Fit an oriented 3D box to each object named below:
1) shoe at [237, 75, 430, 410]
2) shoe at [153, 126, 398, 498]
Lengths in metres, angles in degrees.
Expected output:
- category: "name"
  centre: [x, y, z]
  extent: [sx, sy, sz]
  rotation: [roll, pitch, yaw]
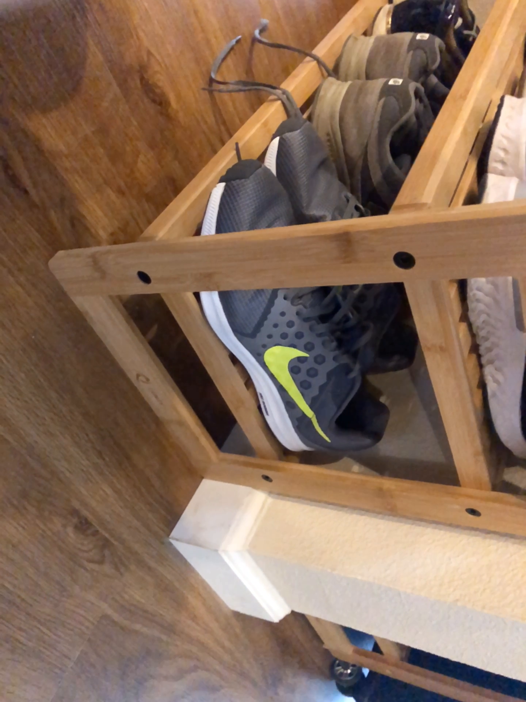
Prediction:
- category: "shoe"
  centre: [0.087, -0.089, 0.584]
  extent: [0.110, 0.070, 0.311]
  rotation: [-59, 136, -38]
- category: "shoe"
  centre: [0.034, -0.017, 0.517]
  extent: [0.120, 0.070, 0.311]
  rotation: [-59, 136, -38]
